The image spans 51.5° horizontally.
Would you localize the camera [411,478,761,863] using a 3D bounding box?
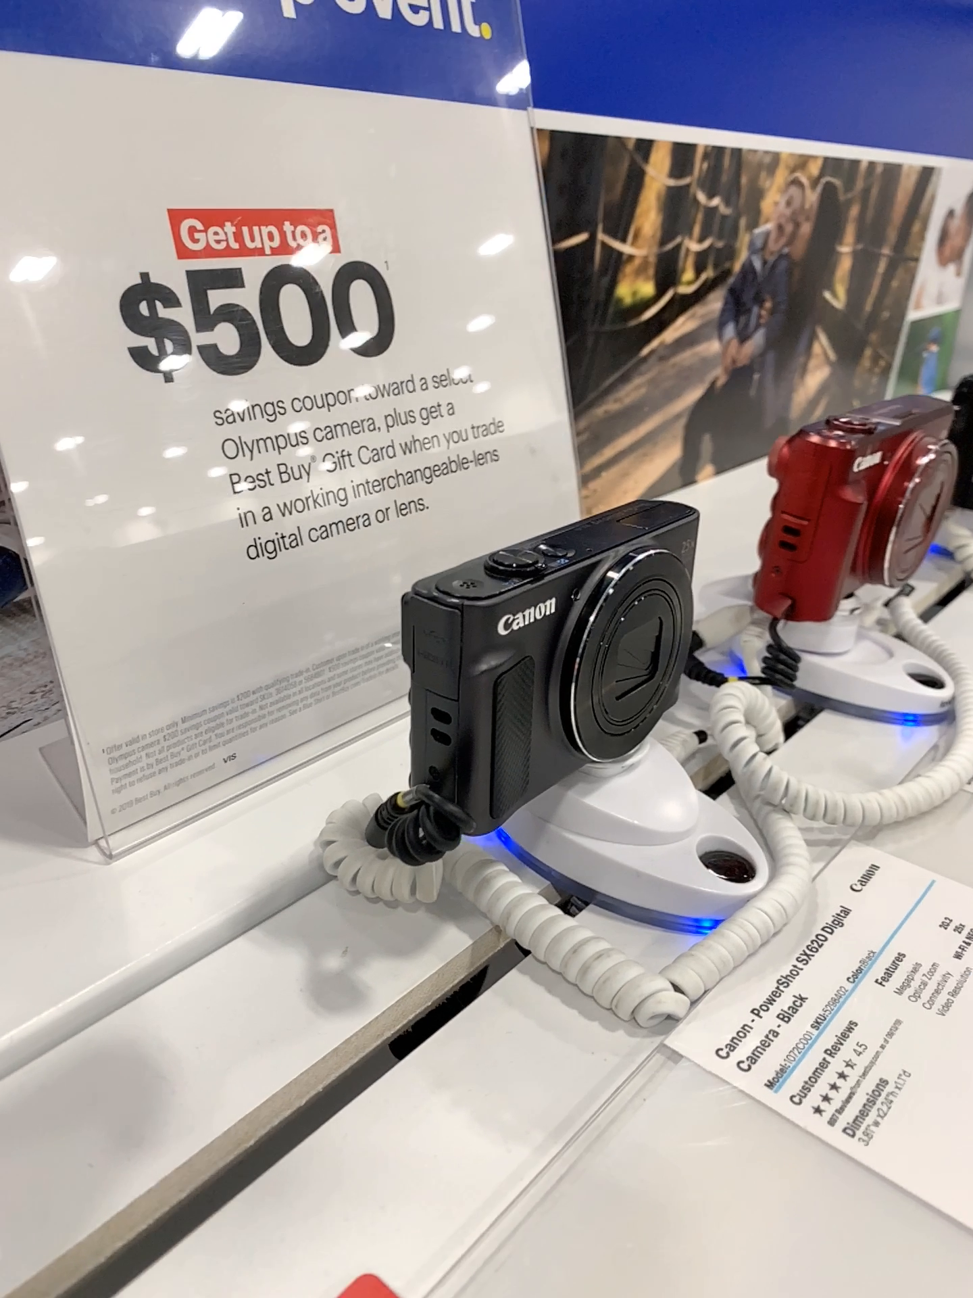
[{"bbox_3d":[0.027,-0.001,0.249,0.030,0.060,0.100,20,31,35],"label":"camera"}]
